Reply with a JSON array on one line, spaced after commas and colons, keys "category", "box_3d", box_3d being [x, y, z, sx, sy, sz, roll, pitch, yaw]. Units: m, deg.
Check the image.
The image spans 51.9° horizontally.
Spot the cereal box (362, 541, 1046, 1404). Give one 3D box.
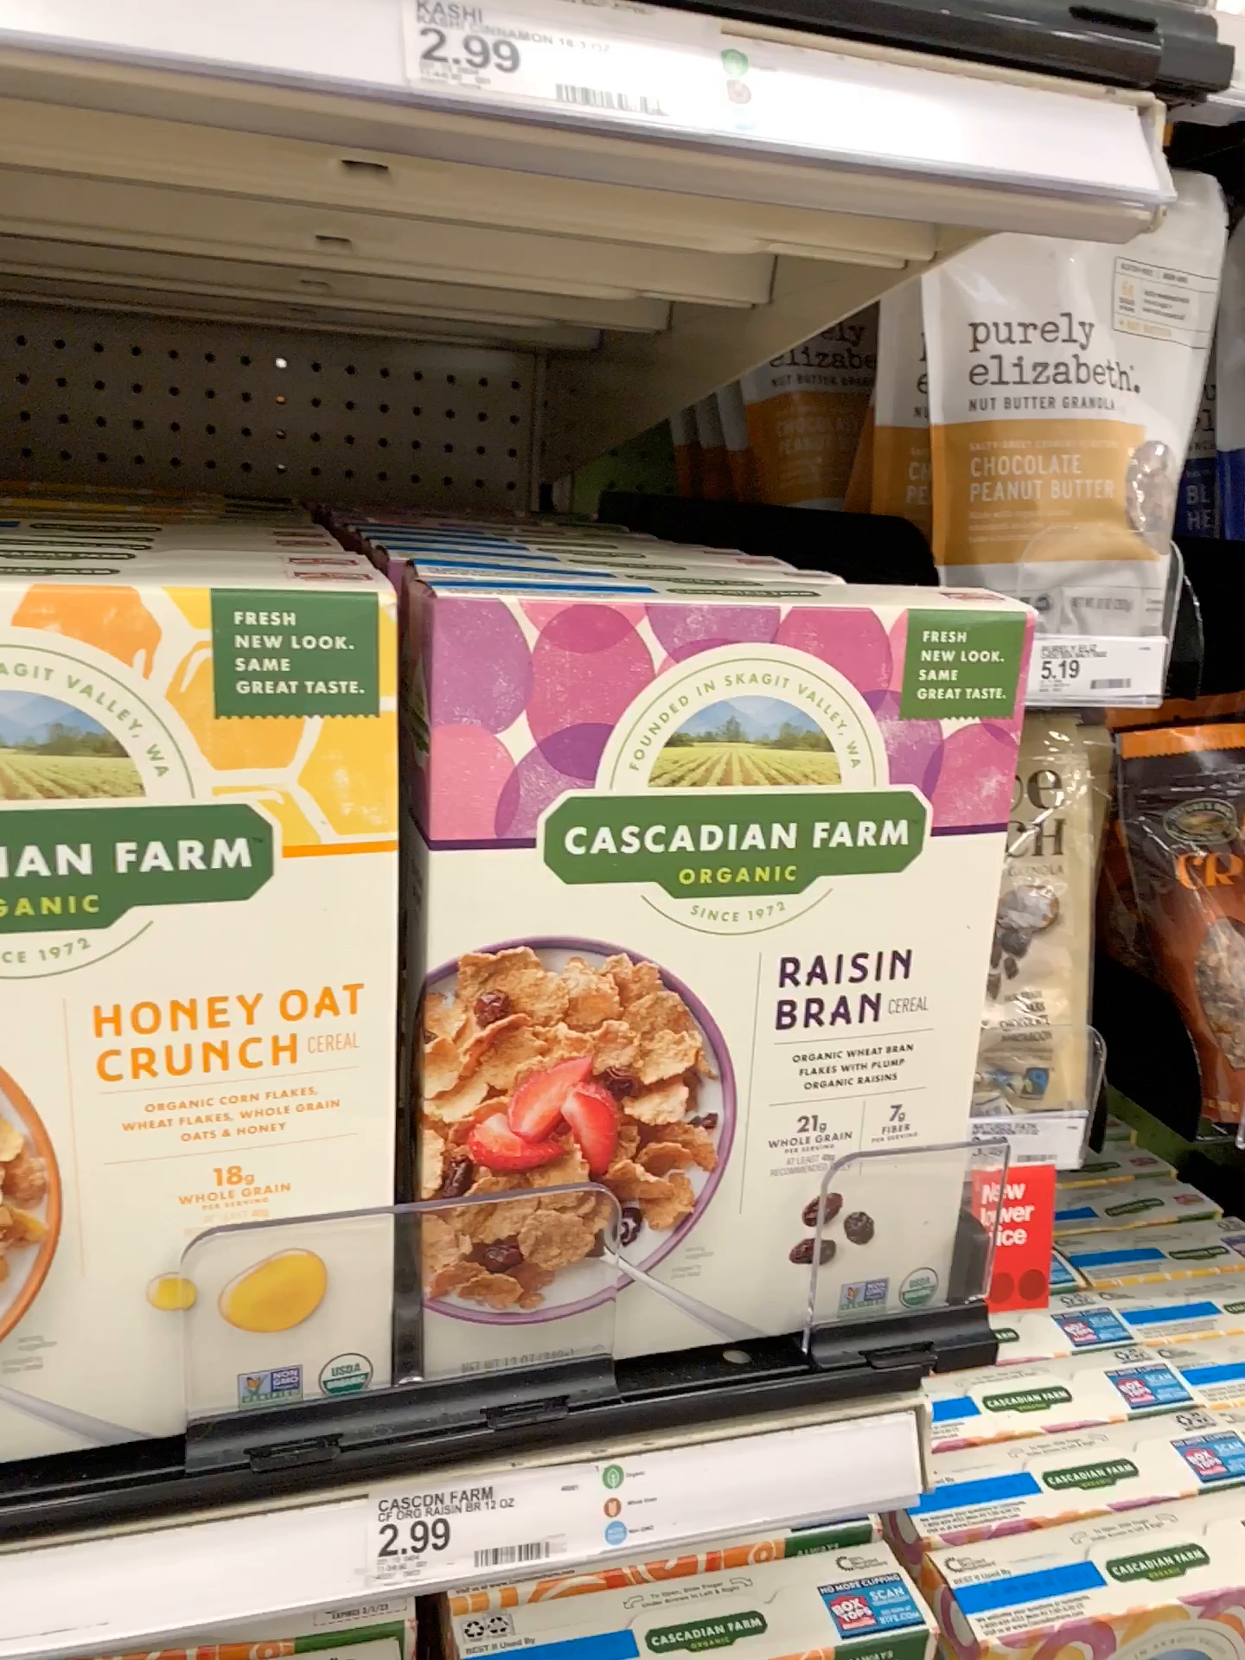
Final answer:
[{"category": "cereal box", "box_3d": [0.019, 0.048, 0.429, 0.200, 0.269, 0.050, -1, 18, -18]}]
